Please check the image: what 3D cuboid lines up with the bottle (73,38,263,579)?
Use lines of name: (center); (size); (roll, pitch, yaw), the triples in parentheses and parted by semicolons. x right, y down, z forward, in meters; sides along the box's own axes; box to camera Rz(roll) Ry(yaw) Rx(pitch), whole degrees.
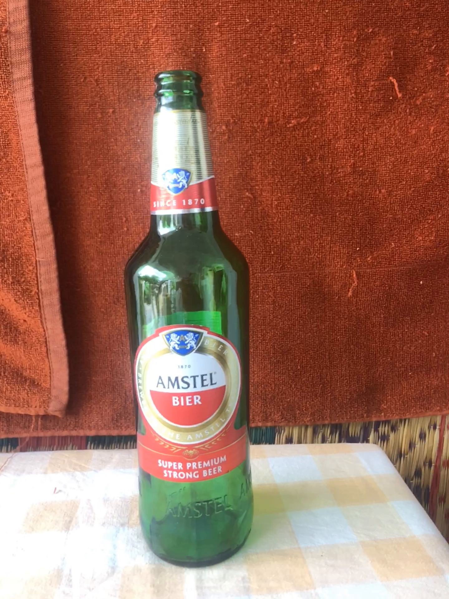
bottle: (-0.023, 0.010, 0.284); (0.080, 0.269, 0.080); (0, 13, 0)
